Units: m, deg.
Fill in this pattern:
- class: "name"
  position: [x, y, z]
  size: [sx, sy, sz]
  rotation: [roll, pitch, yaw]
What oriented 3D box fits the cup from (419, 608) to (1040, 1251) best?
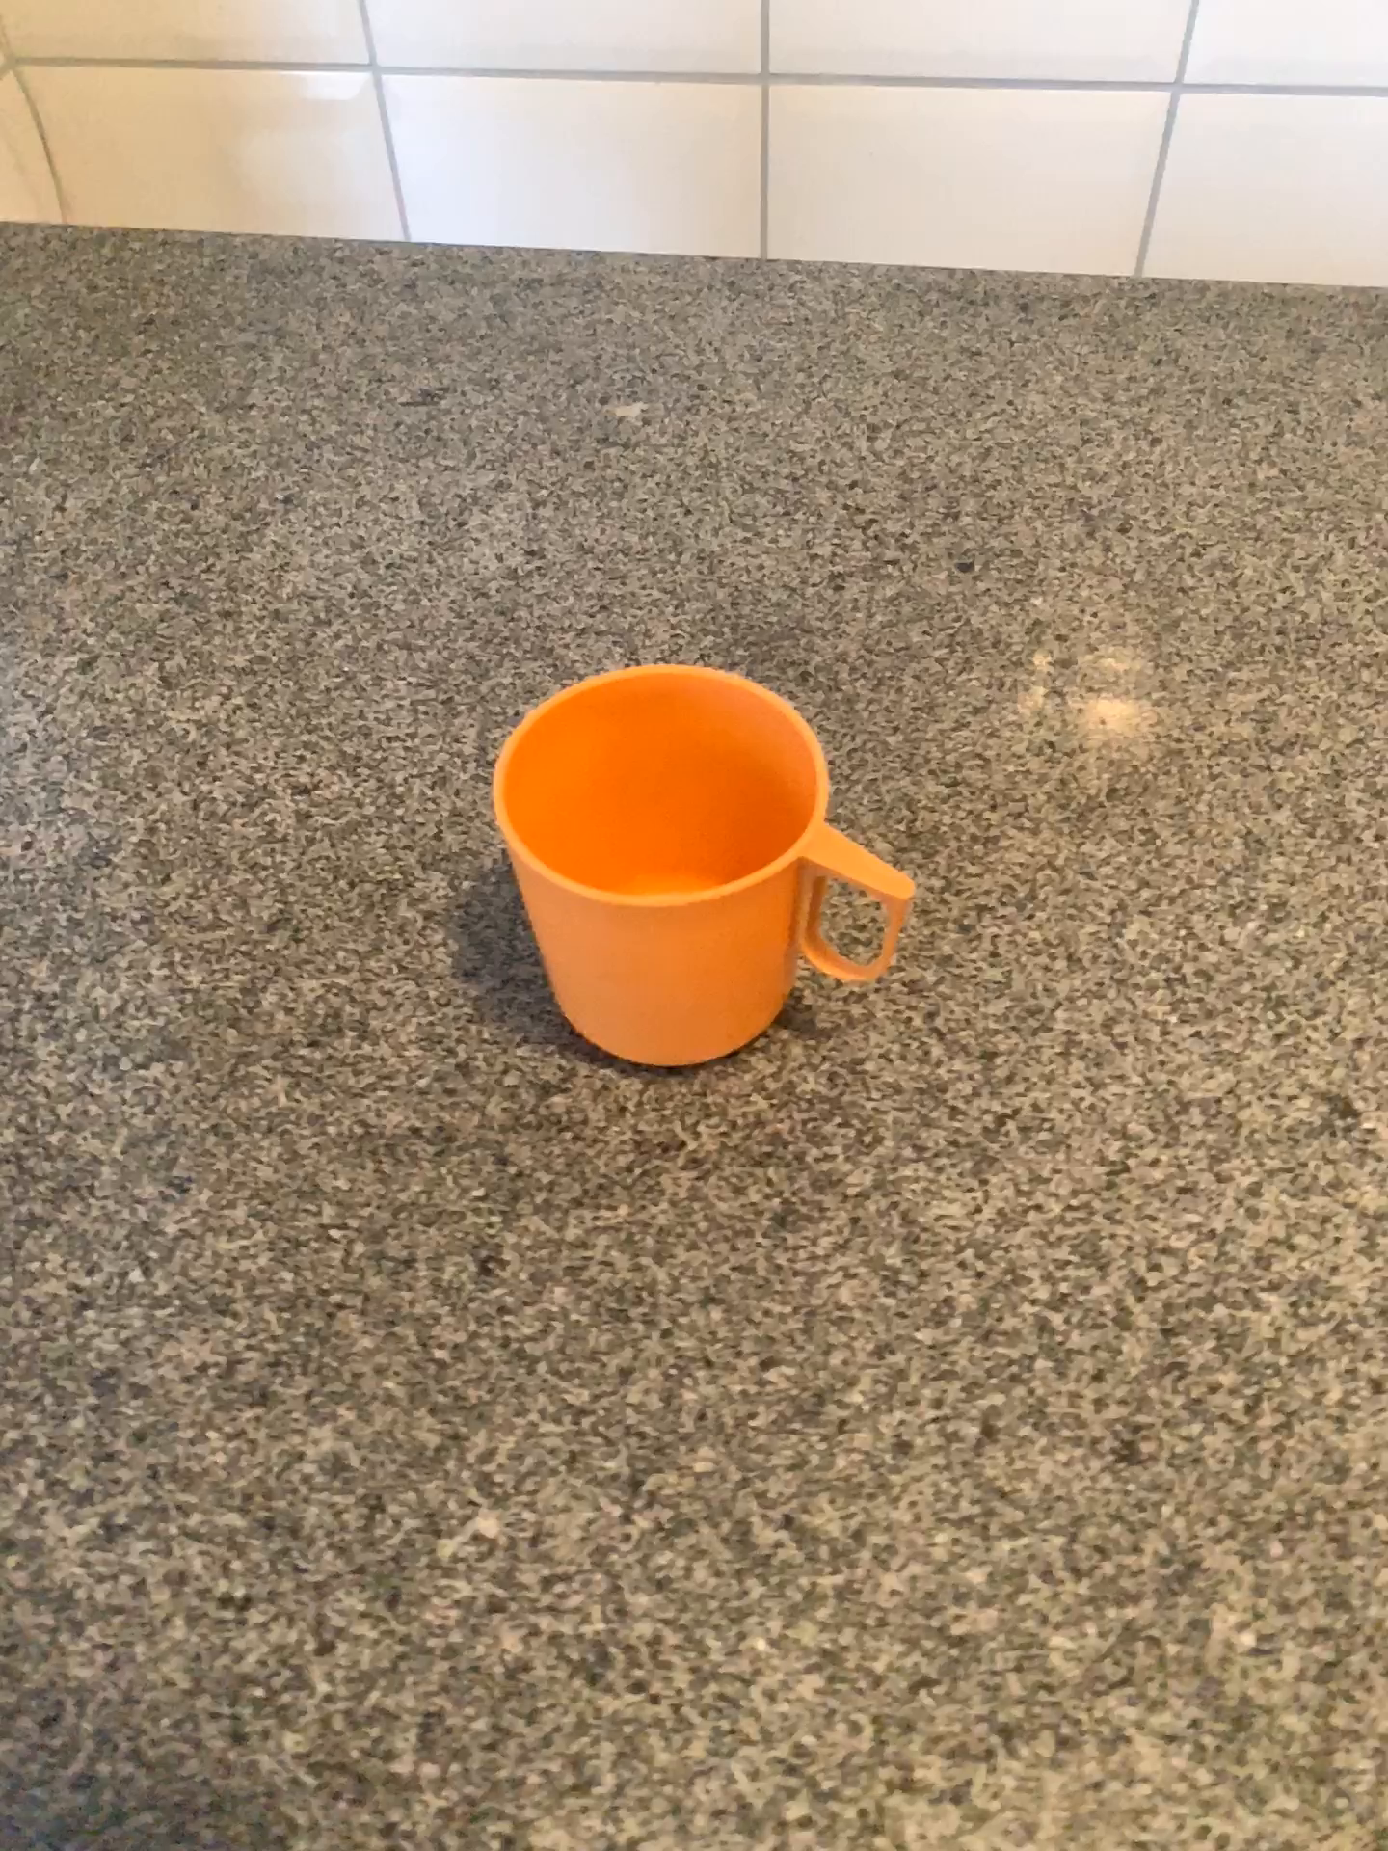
- class: "cup"
  position: [0.009, -0.001, 0.346]
  size: [0.110, 0.090, 0.080]
  rotation: [29, 57, 23]
